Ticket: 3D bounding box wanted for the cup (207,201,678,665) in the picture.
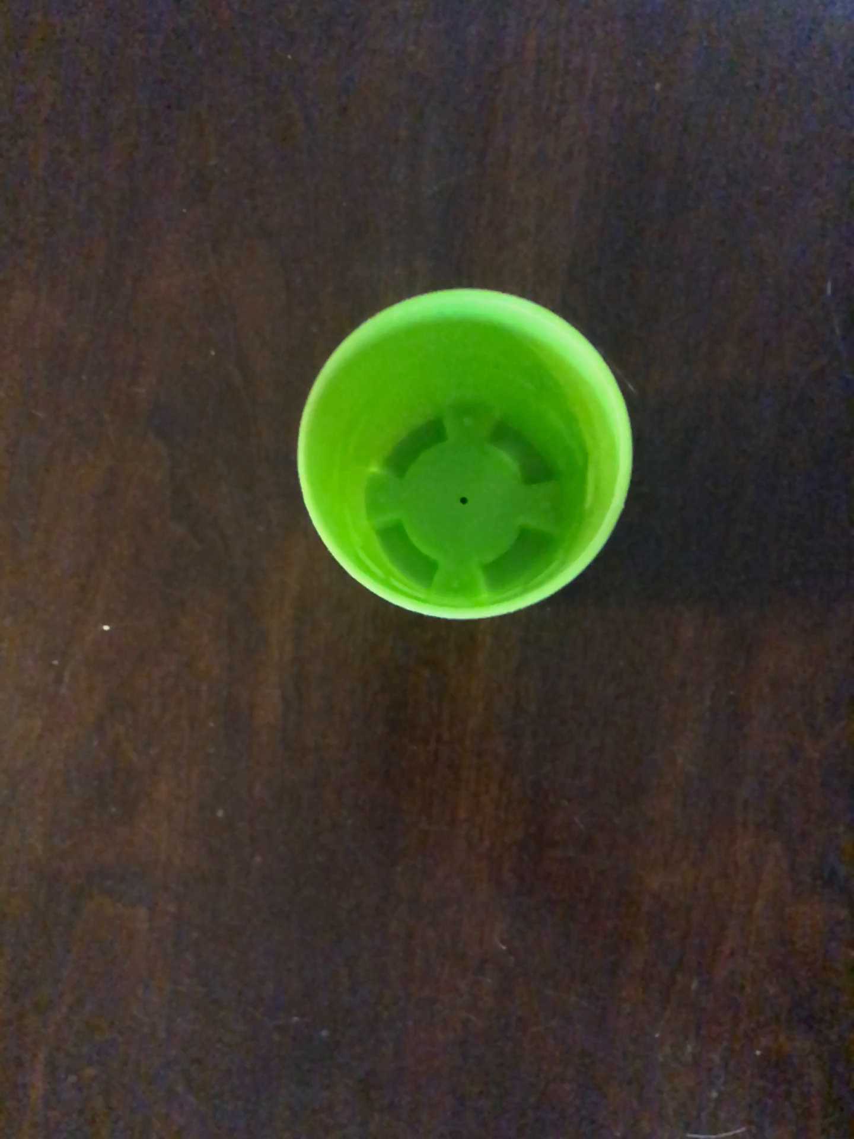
[{"bbox_3d":[0.005,-0.025,0.231,0.070,0.090,0.070,0,87,2],"label":"cup"}]
